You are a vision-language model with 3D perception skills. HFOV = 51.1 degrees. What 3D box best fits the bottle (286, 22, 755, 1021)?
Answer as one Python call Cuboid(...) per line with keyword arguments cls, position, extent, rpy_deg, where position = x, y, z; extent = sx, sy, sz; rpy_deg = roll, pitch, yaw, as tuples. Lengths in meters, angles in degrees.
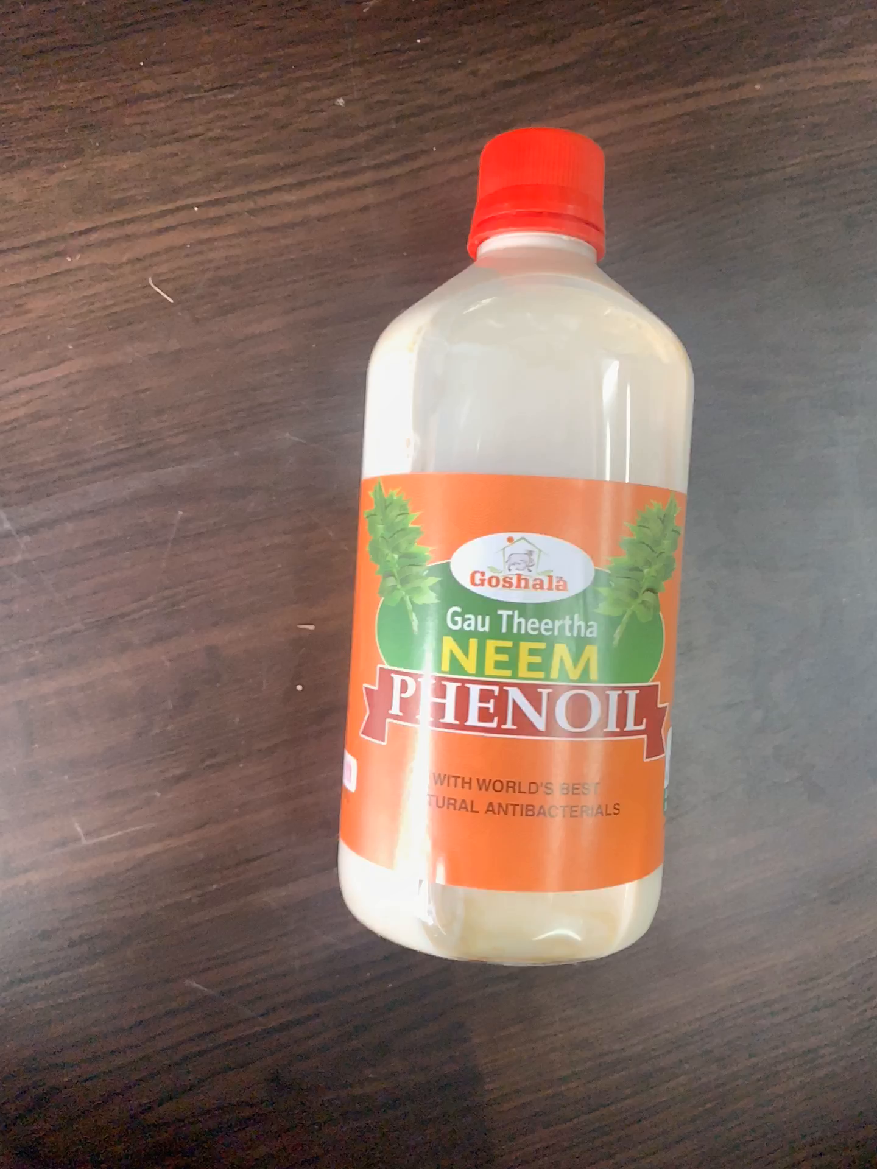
Cuboid(cls="bottle", position=(0.012, -0.009, 0.214), extent=(0.080, 0.070, 0.190), rpy_deg=(3, 93, -6))
